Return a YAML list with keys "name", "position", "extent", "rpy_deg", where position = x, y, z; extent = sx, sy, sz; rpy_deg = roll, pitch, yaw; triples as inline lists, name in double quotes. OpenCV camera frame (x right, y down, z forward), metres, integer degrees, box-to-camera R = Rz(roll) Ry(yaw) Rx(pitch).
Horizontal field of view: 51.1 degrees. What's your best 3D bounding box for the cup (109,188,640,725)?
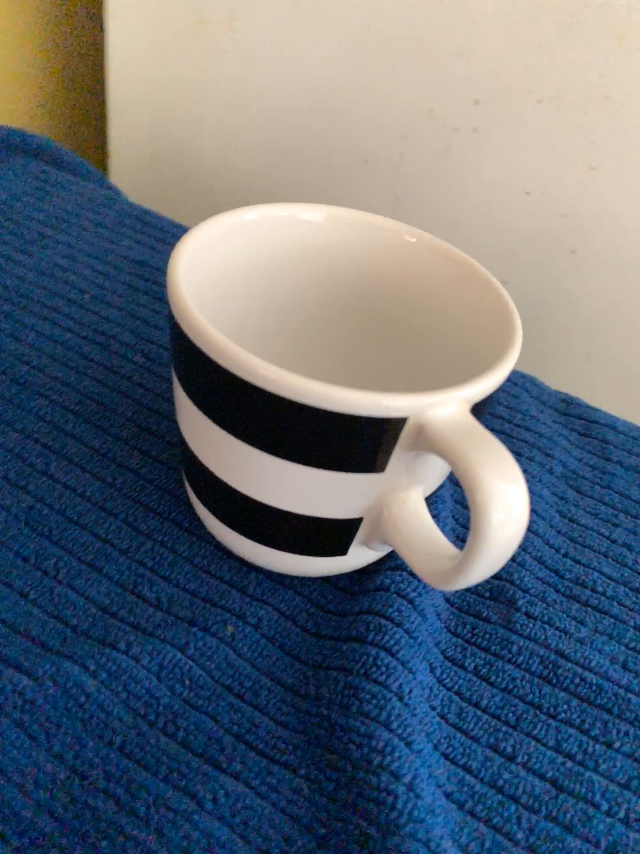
- name: "cup"
  position: [0.007, -0.007, 0.170]
  extent: [0.085, 0.057, 0.113]
  rpy_deg: [-15, 47, -27]
